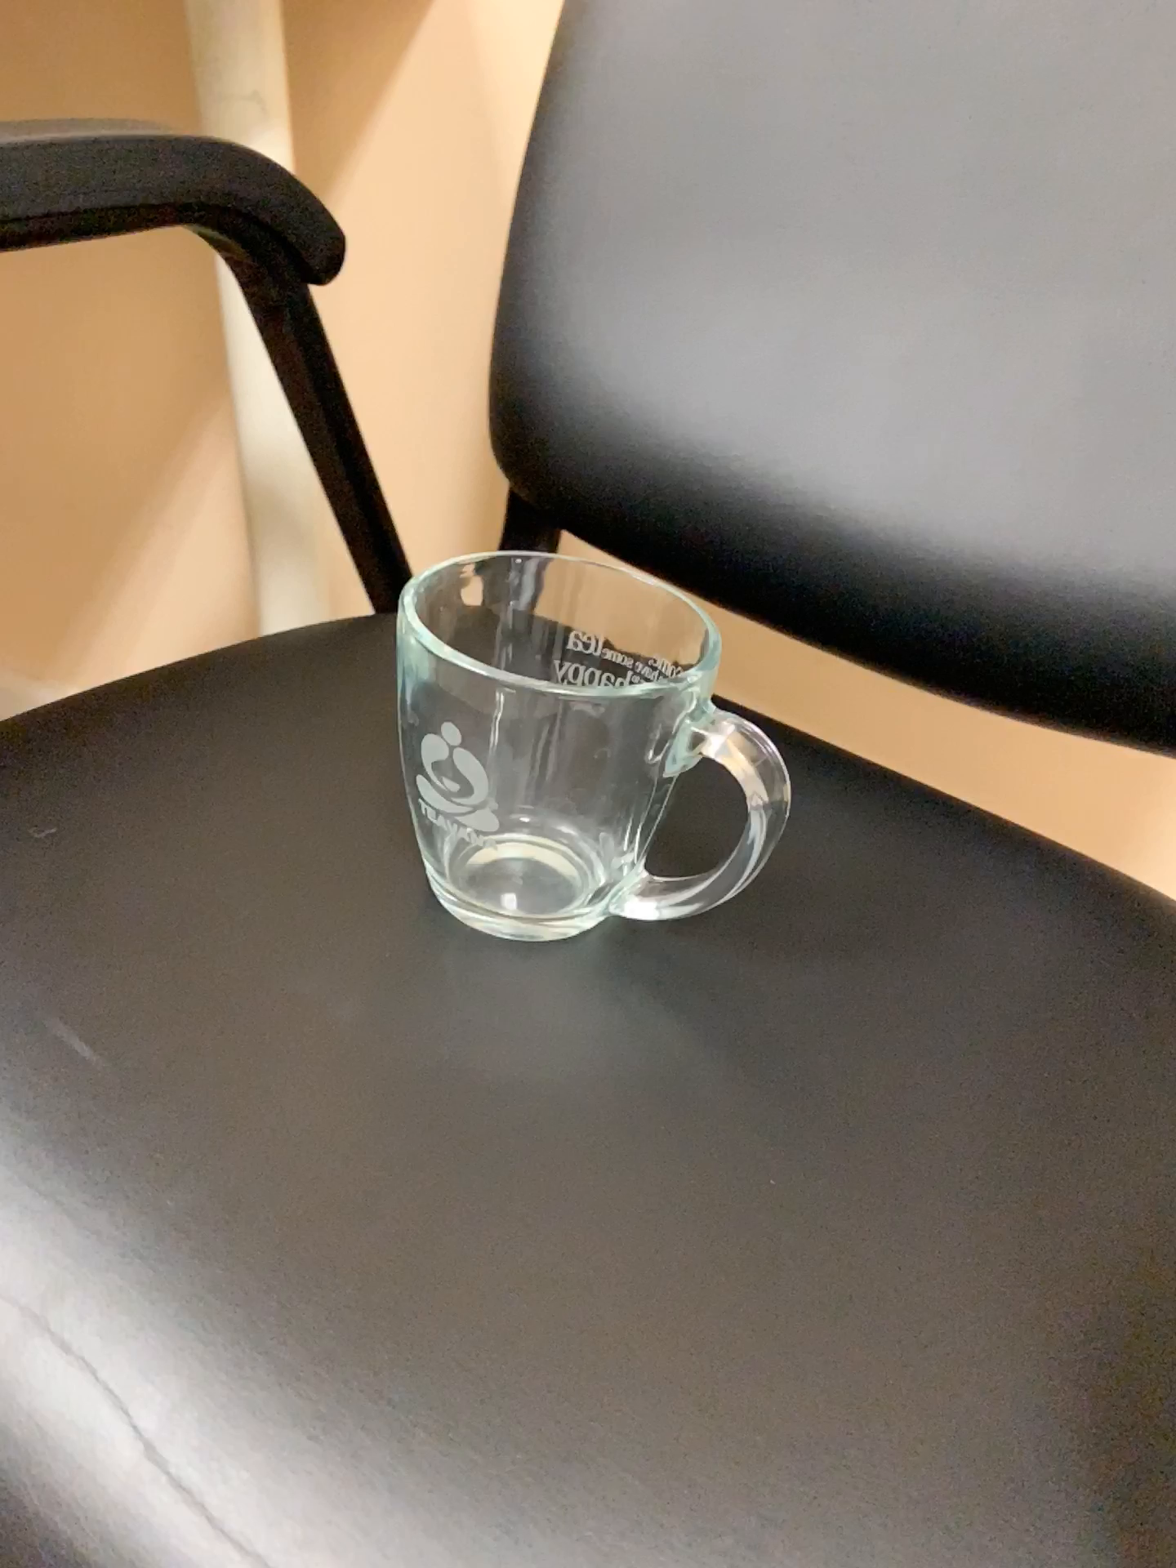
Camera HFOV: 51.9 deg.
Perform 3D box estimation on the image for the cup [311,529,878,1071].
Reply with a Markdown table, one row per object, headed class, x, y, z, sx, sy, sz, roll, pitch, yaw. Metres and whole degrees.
| class | x | y | z | sx | sy | sz | roll | pitch | yaw |
| --- | --- | --- | --- | --- | --- | --- | --- | --- | --- |
| cup | -0.001 | -0.003 | 0.386 | 0.139 | 0.100 | 0.096 | 22 | 32 | 20 |
